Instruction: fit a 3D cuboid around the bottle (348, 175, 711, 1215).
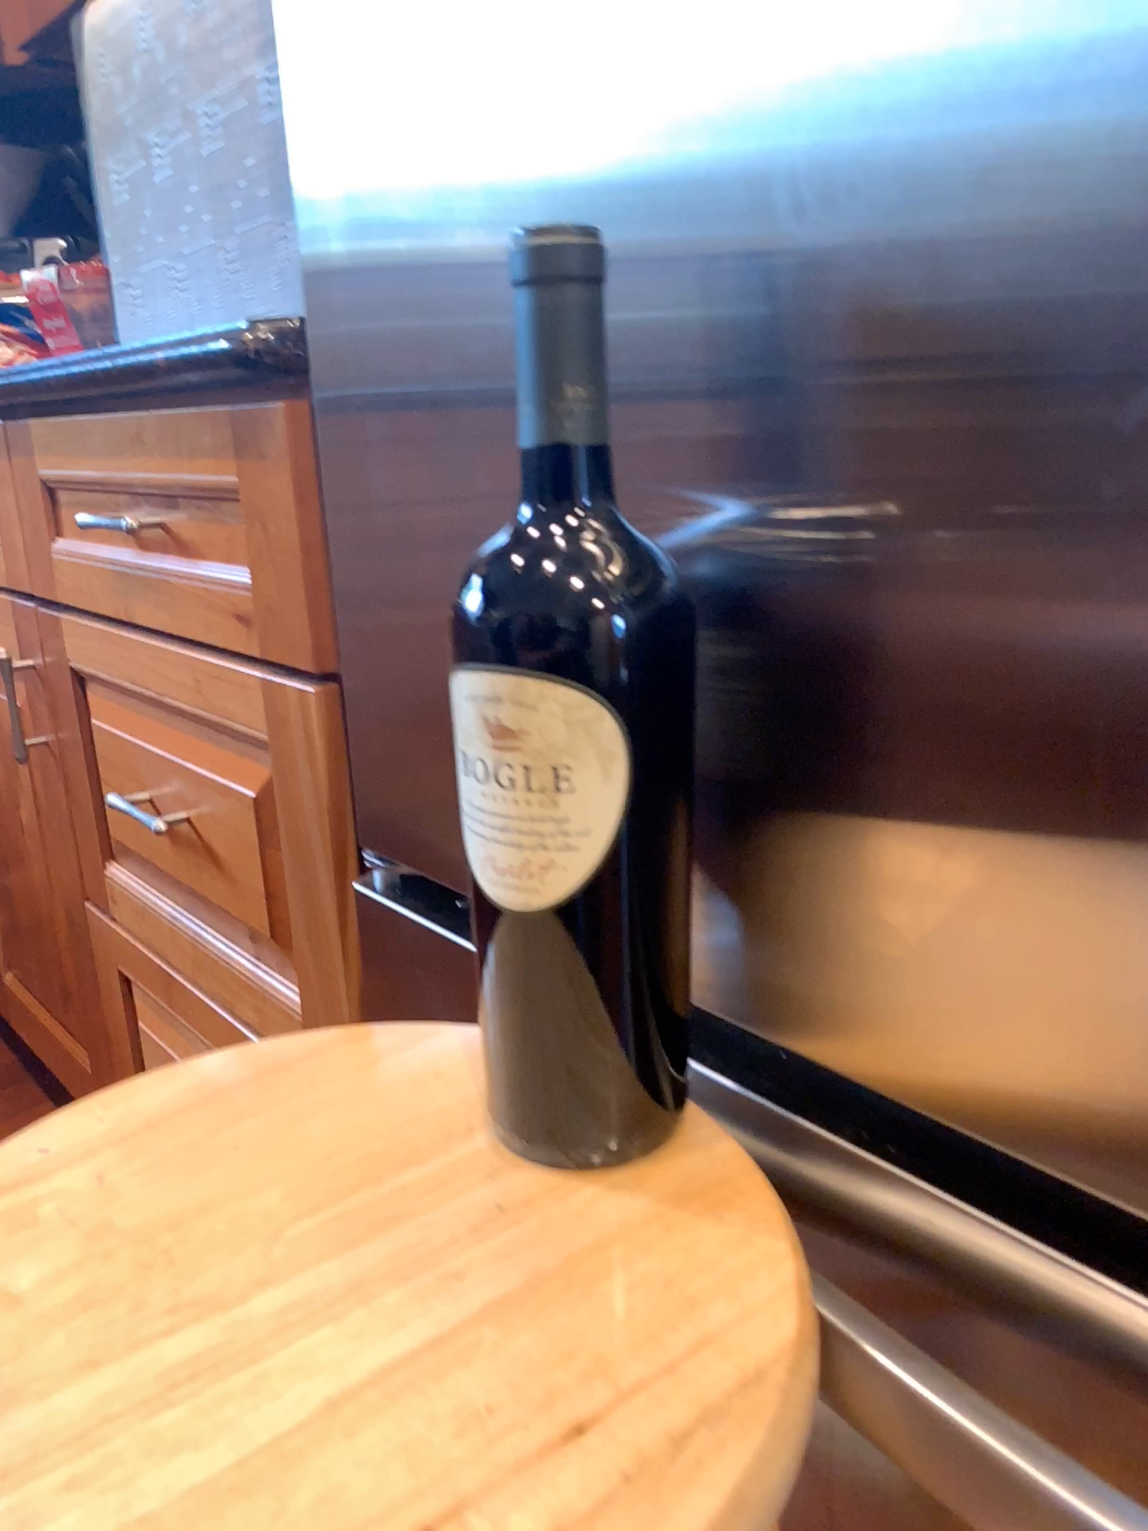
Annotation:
[{"bbox_3d":[-0.006,-0.017,0.405,0.080,0.319,0.080,-2,16,1],"label":"bottle"}]
